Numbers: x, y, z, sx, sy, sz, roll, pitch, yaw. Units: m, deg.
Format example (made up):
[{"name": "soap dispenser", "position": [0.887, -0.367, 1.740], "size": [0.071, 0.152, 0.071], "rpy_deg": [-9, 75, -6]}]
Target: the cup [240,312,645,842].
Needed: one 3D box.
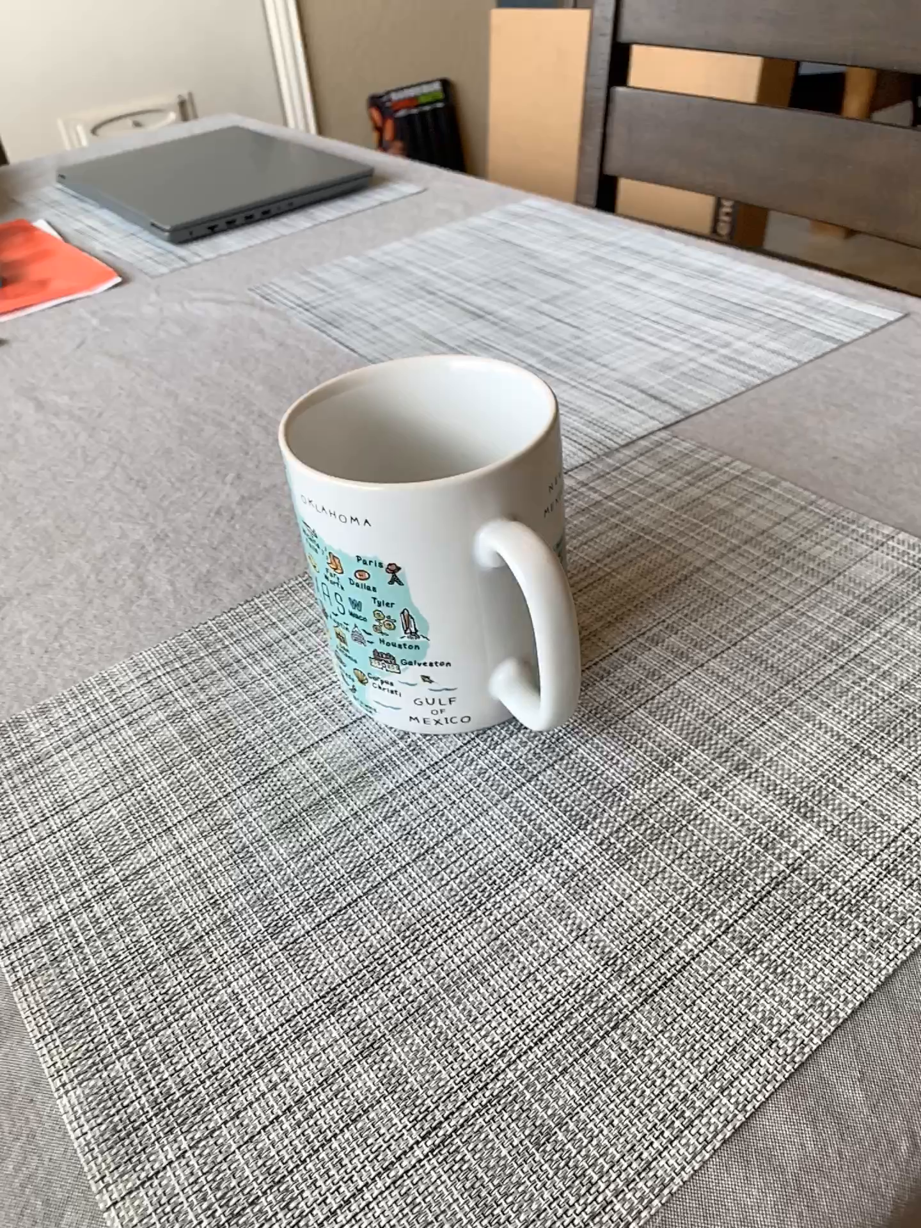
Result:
[{"name": "cup", "position": [-0.010, -0.022, 0.394], "size": [0.111, 0.136, 0.151], "rpy_deg": [-15, 40, -11]}]
